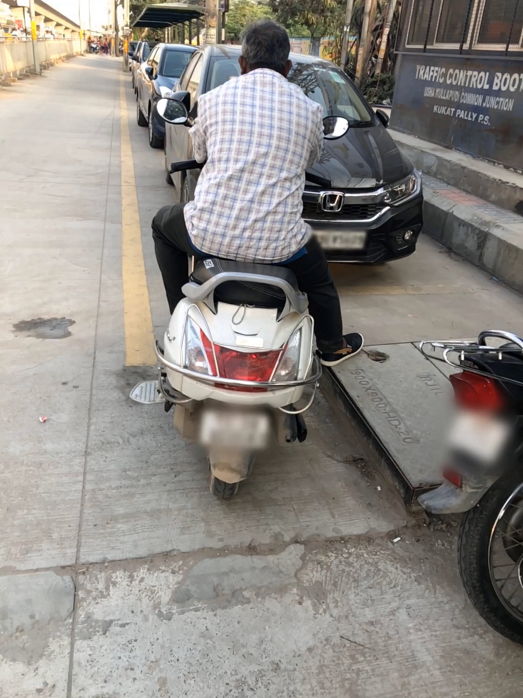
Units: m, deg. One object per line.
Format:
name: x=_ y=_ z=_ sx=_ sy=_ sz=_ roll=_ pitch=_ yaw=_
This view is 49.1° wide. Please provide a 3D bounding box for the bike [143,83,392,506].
bike: x=-0.005 y=-0.373 z=2.299 sx=0.640 sy=0.858 sz=1.609 roll=3 pitch=35 yaw=-3
